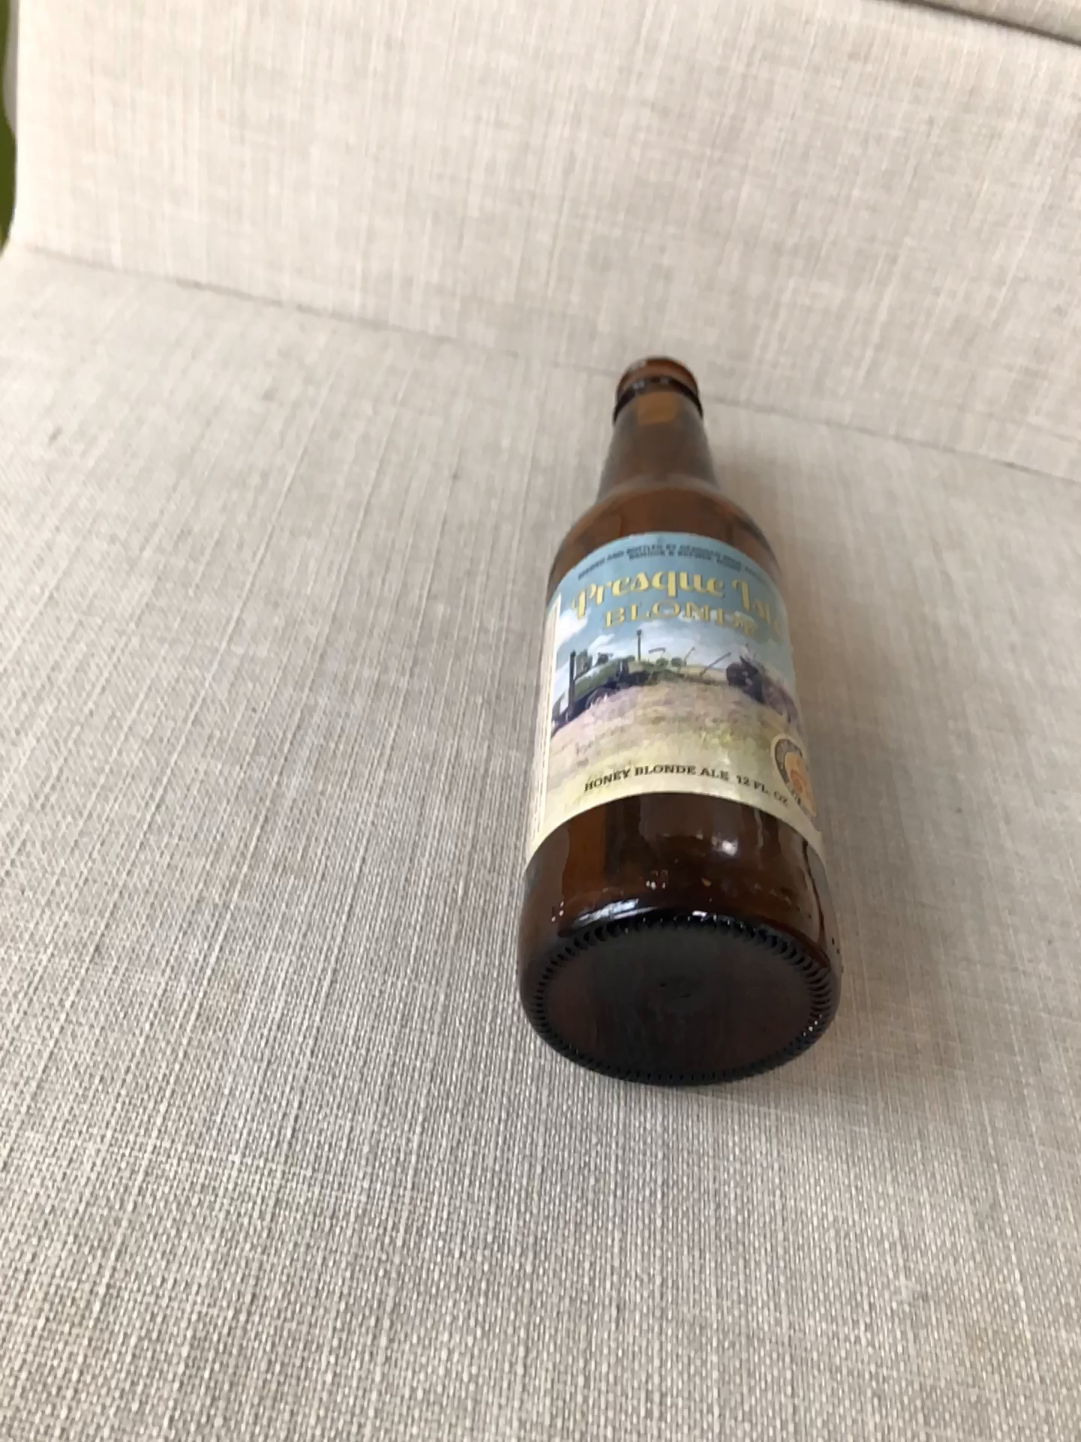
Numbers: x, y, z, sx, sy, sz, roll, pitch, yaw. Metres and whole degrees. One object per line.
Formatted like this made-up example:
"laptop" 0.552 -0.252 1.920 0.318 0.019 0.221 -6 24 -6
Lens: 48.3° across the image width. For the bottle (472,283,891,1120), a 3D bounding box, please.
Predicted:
"bottle" 0.030 -0.027 0.293 0.065 0.059 0.232 2 44 3
